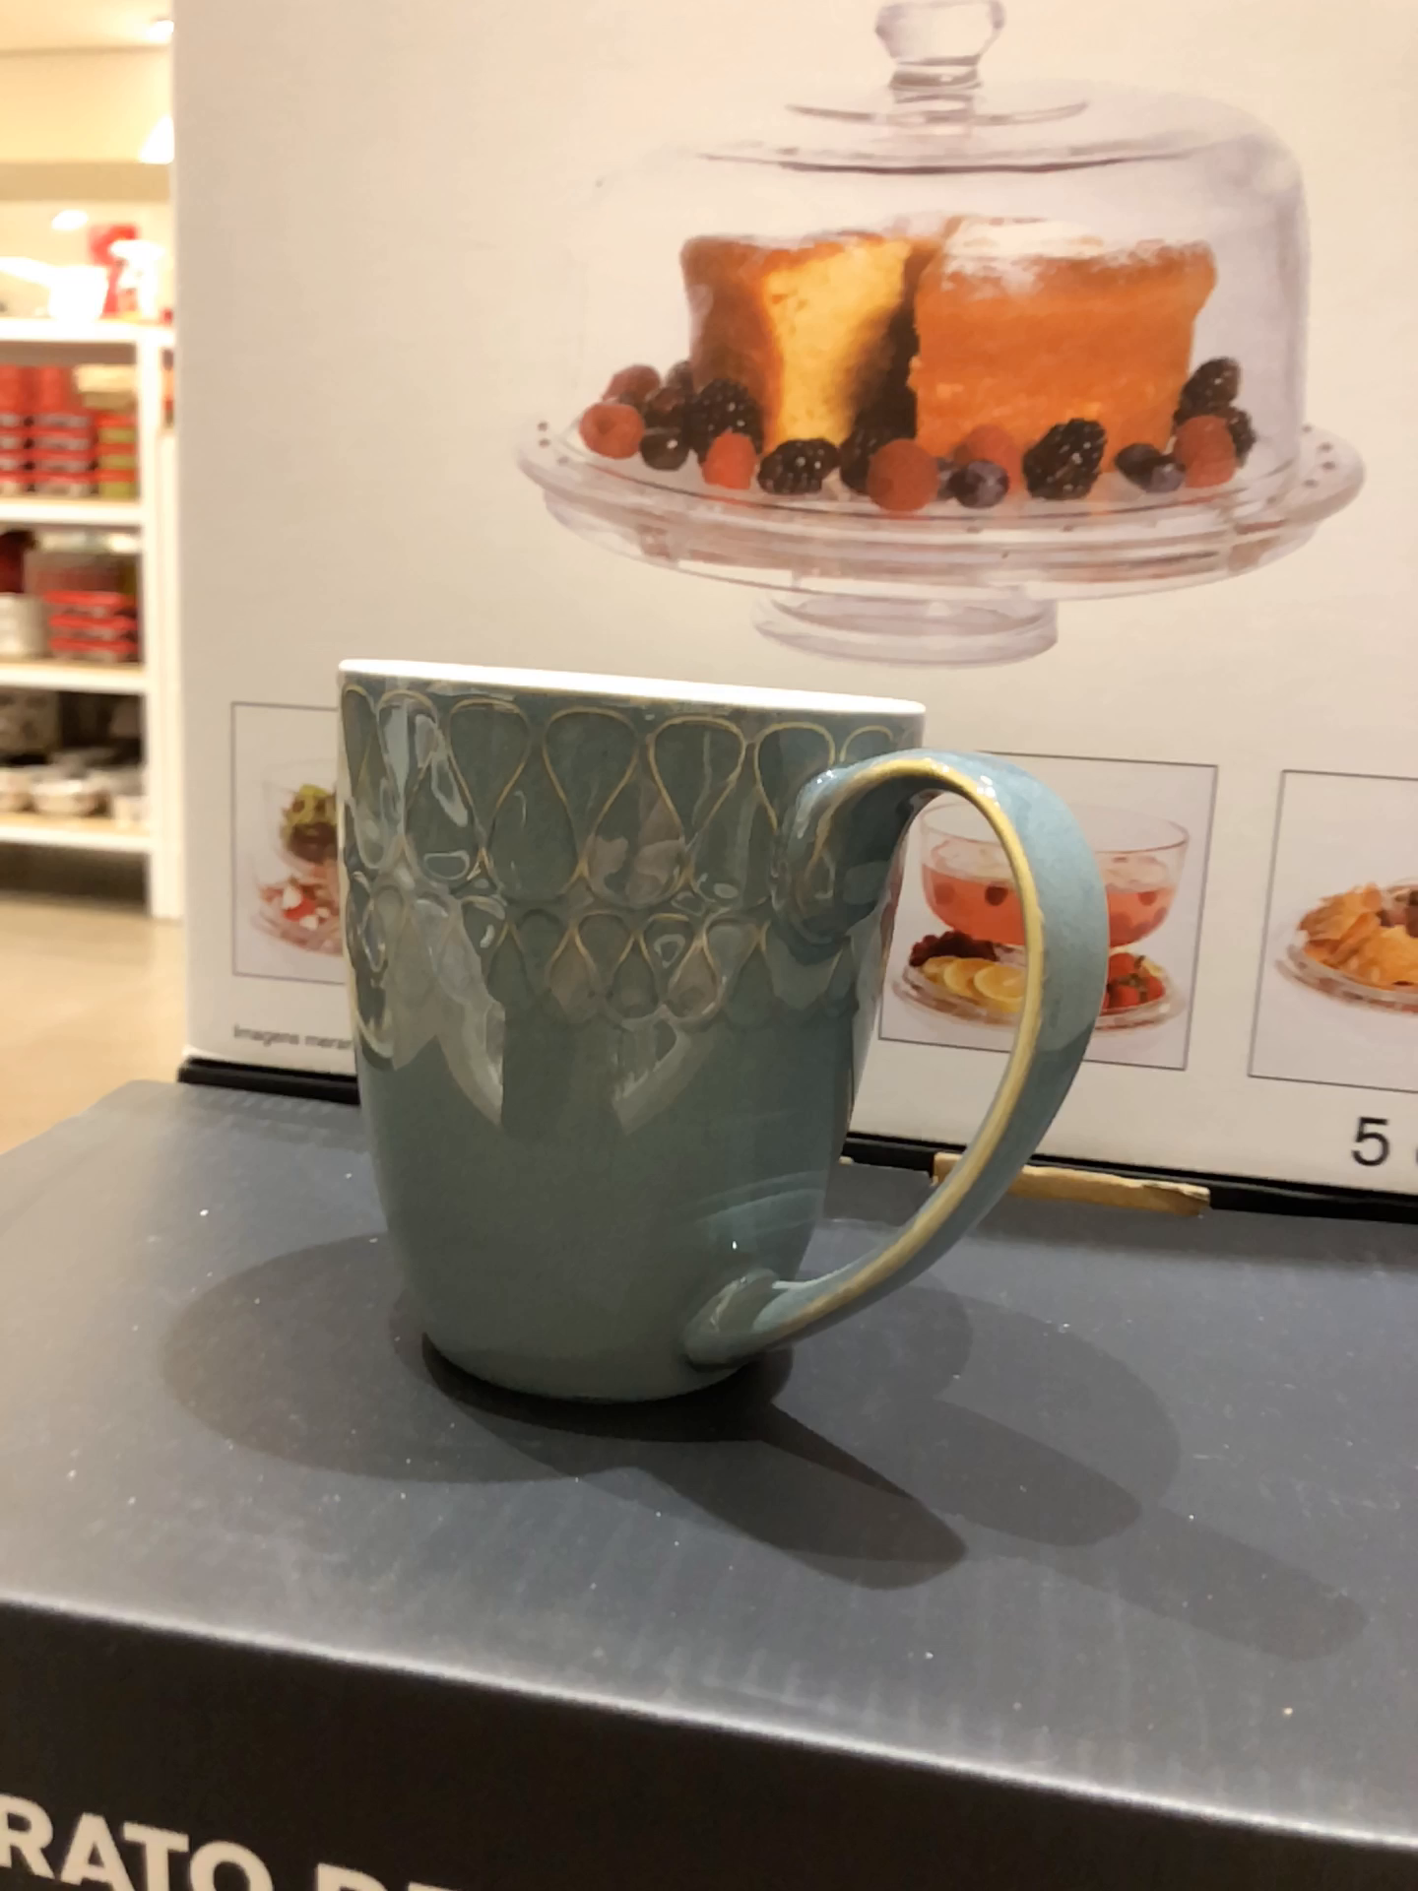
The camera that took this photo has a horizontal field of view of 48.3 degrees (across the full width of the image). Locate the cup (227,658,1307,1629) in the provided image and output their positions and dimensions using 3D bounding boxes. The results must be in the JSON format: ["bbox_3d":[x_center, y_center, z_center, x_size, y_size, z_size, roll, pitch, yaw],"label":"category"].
[{"bbox_3d":[0.006,0.011,0.242,0.130,0.100,0.090,11,15,35],"label":"cup"}]
